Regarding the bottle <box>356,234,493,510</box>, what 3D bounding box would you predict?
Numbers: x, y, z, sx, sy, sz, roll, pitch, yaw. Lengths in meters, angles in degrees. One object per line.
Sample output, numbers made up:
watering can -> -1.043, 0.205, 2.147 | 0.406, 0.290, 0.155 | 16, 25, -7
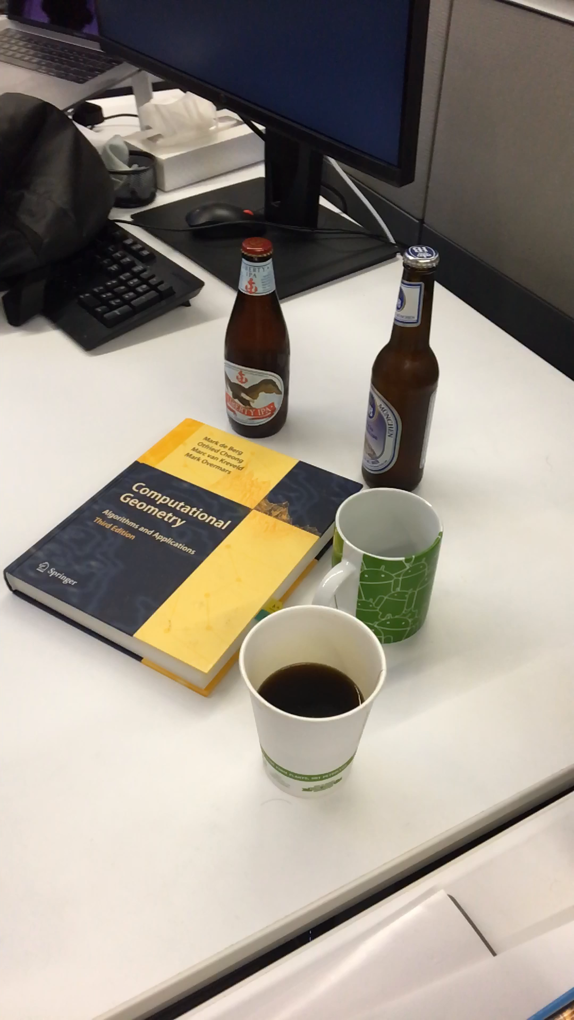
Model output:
bottle -> 0.106, -0.106, 0.700 | 0.070, 0.220, 0.060 | -9, 43, -11

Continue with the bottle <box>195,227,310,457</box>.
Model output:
bottle -> -0.029, -0.148, 0.765 | 0.070, 0.180, 0.070 | 0, 42, 0
